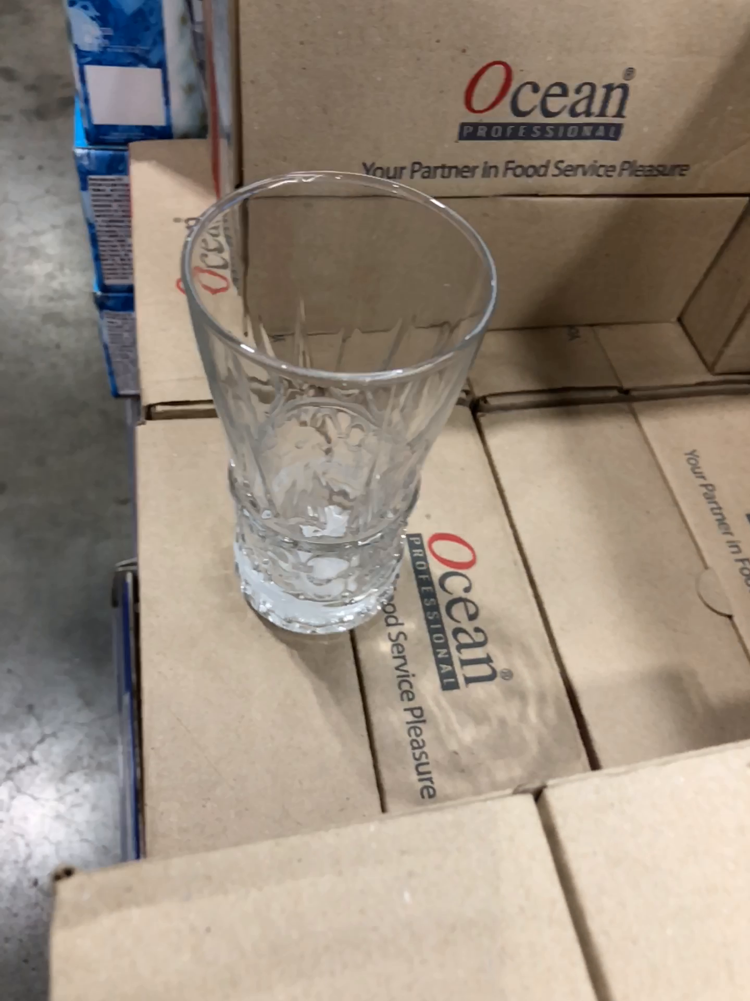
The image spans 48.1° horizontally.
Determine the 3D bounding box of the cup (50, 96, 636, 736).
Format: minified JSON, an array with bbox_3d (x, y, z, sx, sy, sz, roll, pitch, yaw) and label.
[{"bbox_3d":[-0.013,-0.023,0.253,0.100,0.130,0.100,4,52,-5],"label":"cup"}]
